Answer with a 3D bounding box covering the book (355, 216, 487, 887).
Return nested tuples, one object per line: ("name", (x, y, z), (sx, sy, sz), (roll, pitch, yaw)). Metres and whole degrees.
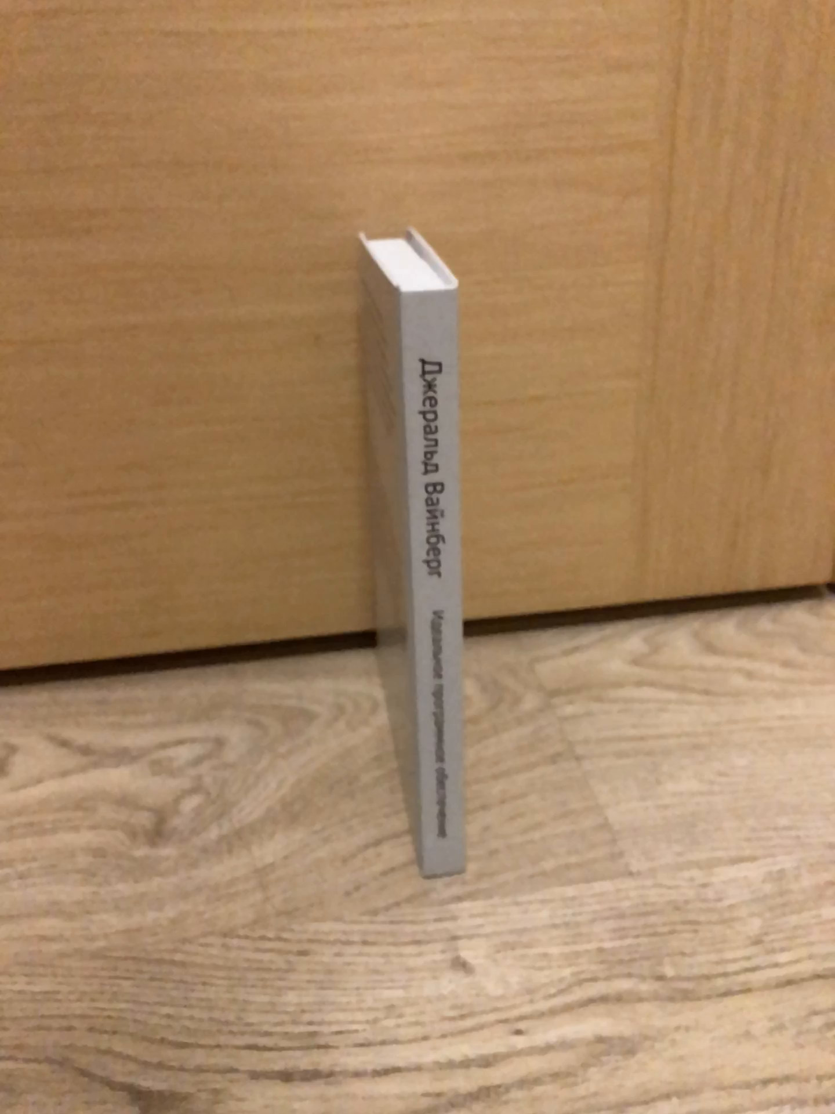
("book", (-0.002, -0.014, 0.359), (0.023, 0.209, 0.163), (-4, 24, -6))
